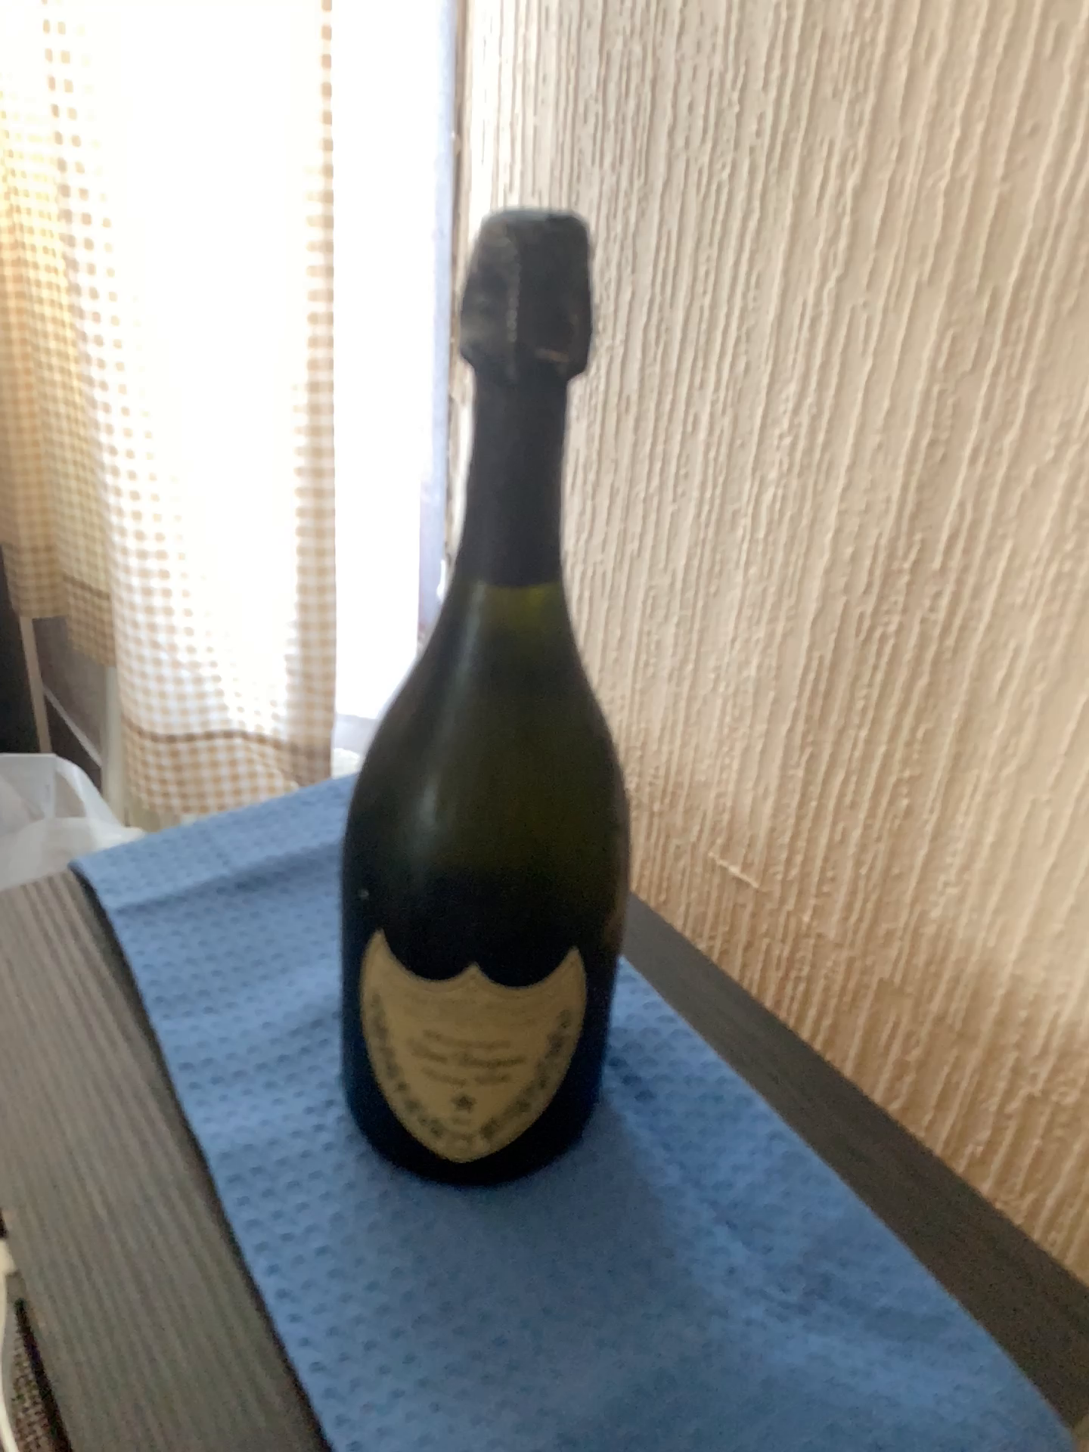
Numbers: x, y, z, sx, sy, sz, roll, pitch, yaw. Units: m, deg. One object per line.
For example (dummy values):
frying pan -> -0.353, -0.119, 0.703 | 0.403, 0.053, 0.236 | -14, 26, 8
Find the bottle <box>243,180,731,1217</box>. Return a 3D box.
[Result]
bottle -> -0.017, 0.004, 0.340 | 0.100, 0.297, 0.101 | 4, 30, -2
